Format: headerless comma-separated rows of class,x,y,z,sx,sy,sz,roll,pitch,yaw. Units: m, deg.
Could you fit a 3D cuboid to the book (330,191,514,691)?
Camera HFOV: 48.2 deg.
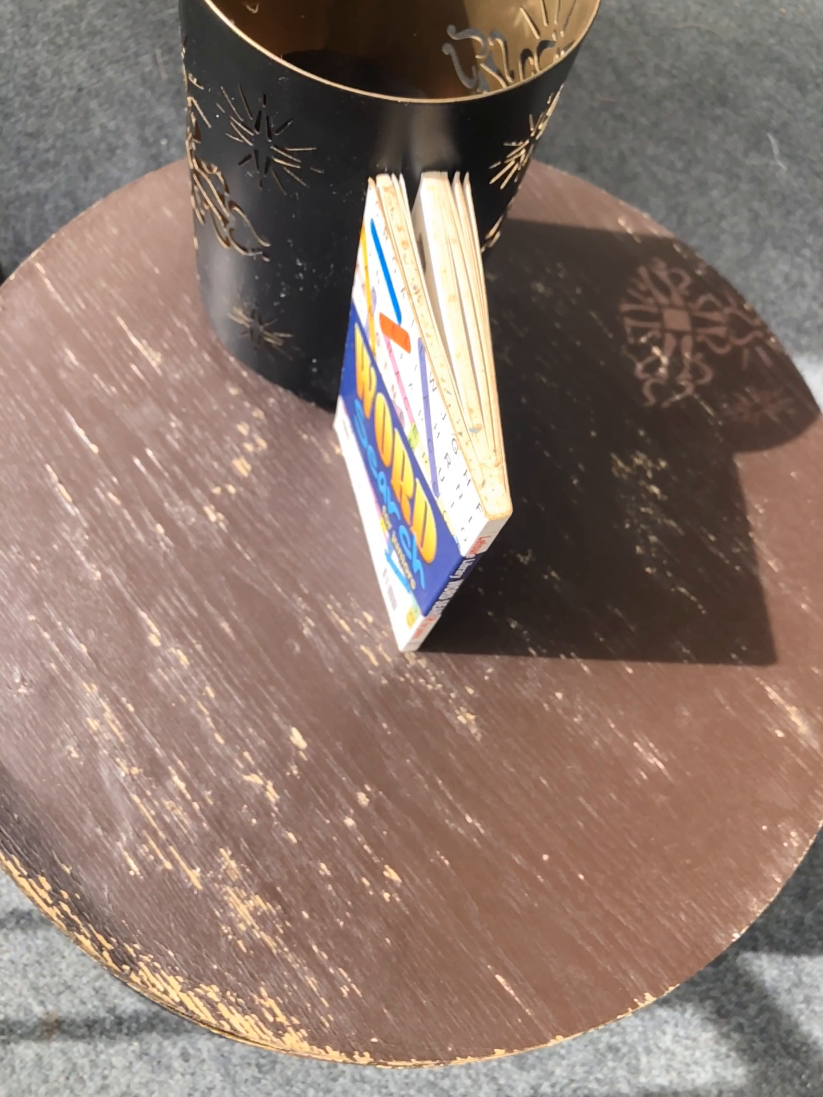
book,-0.006,-0.025,0.357,0.031,0.180,0.124,-5,71,-9
